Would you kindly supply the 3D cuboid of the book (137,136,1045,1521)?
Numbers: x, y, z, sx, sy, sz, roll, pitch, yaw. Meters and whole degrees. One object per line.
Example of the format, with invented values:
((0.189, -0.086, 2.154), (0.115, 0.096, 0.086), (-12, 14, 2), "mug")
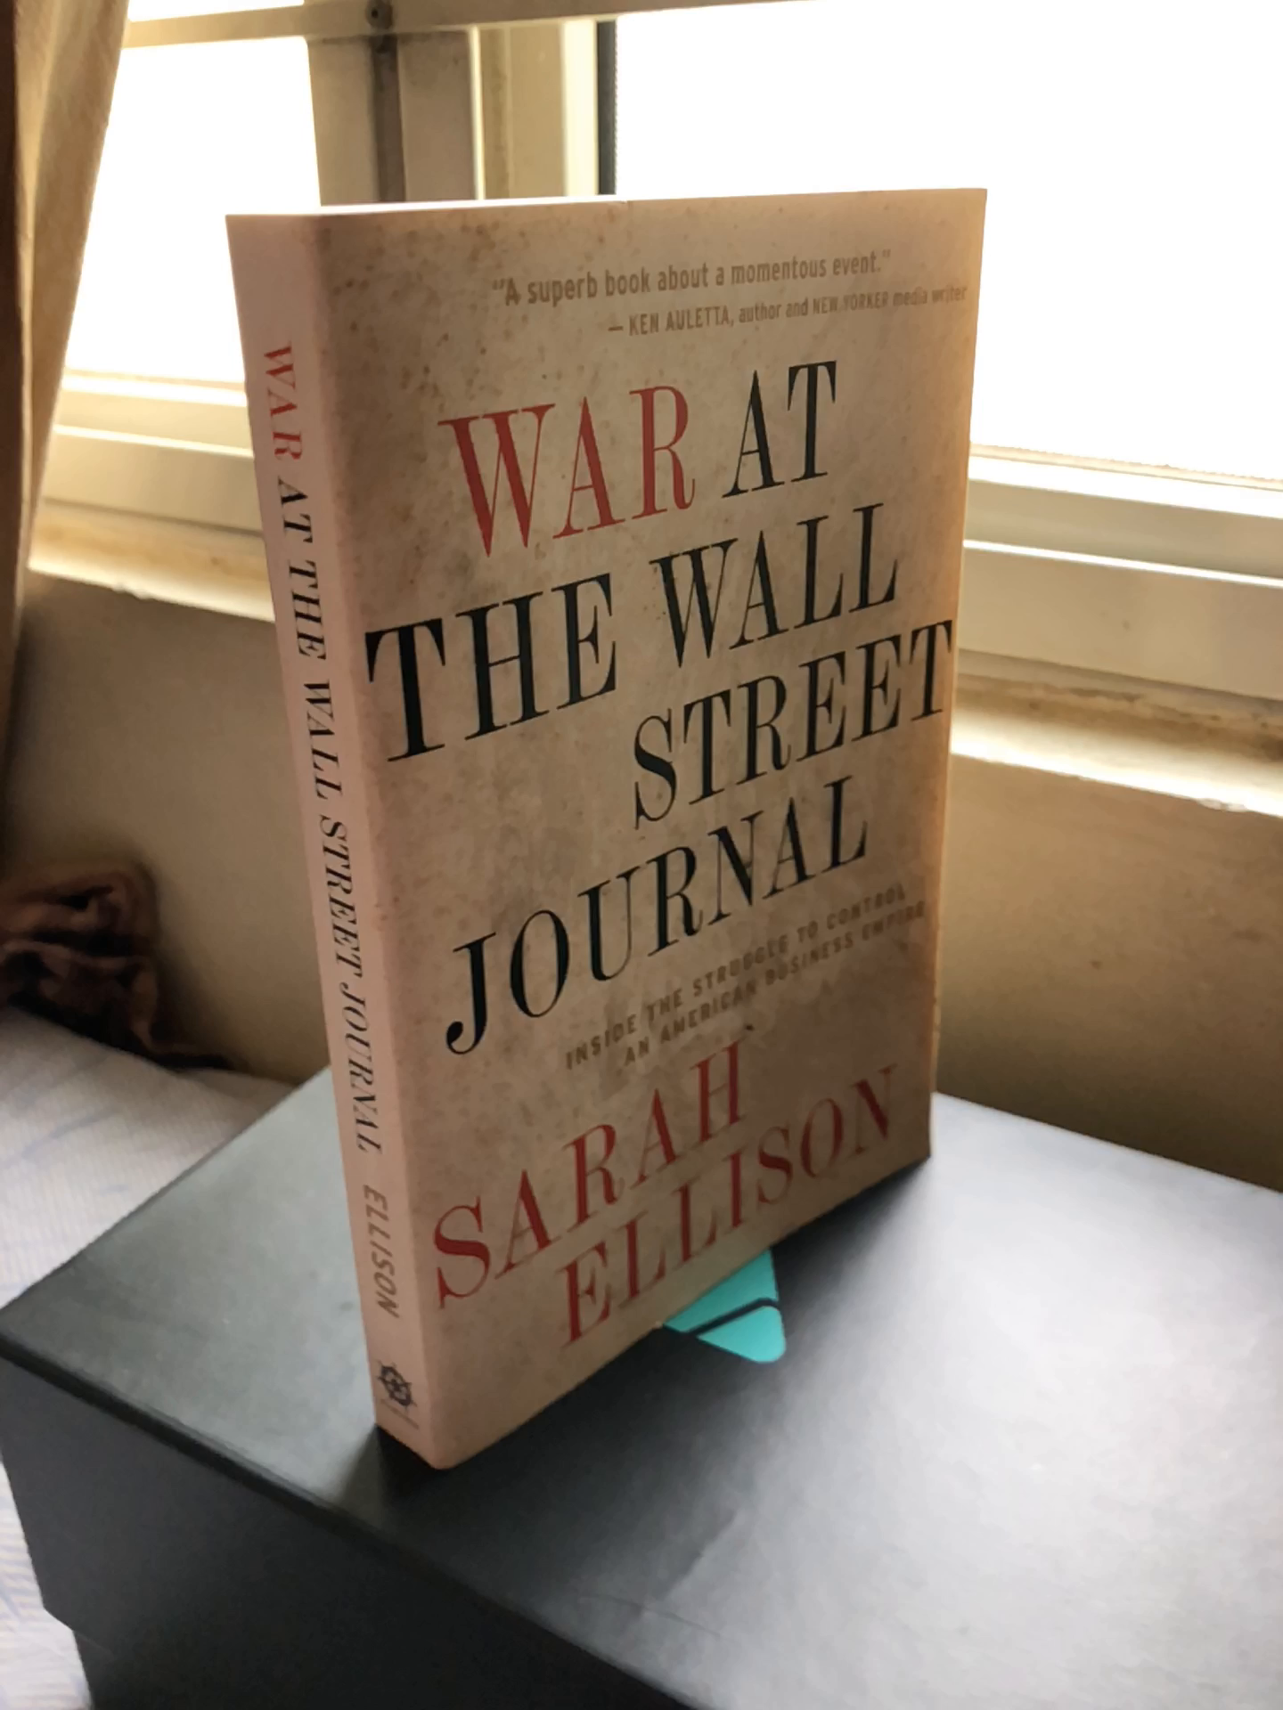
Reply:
((0.005, -0.010, 0.249), (0.150, 0.199, 0.030), (-21, 31, -39), "book")
